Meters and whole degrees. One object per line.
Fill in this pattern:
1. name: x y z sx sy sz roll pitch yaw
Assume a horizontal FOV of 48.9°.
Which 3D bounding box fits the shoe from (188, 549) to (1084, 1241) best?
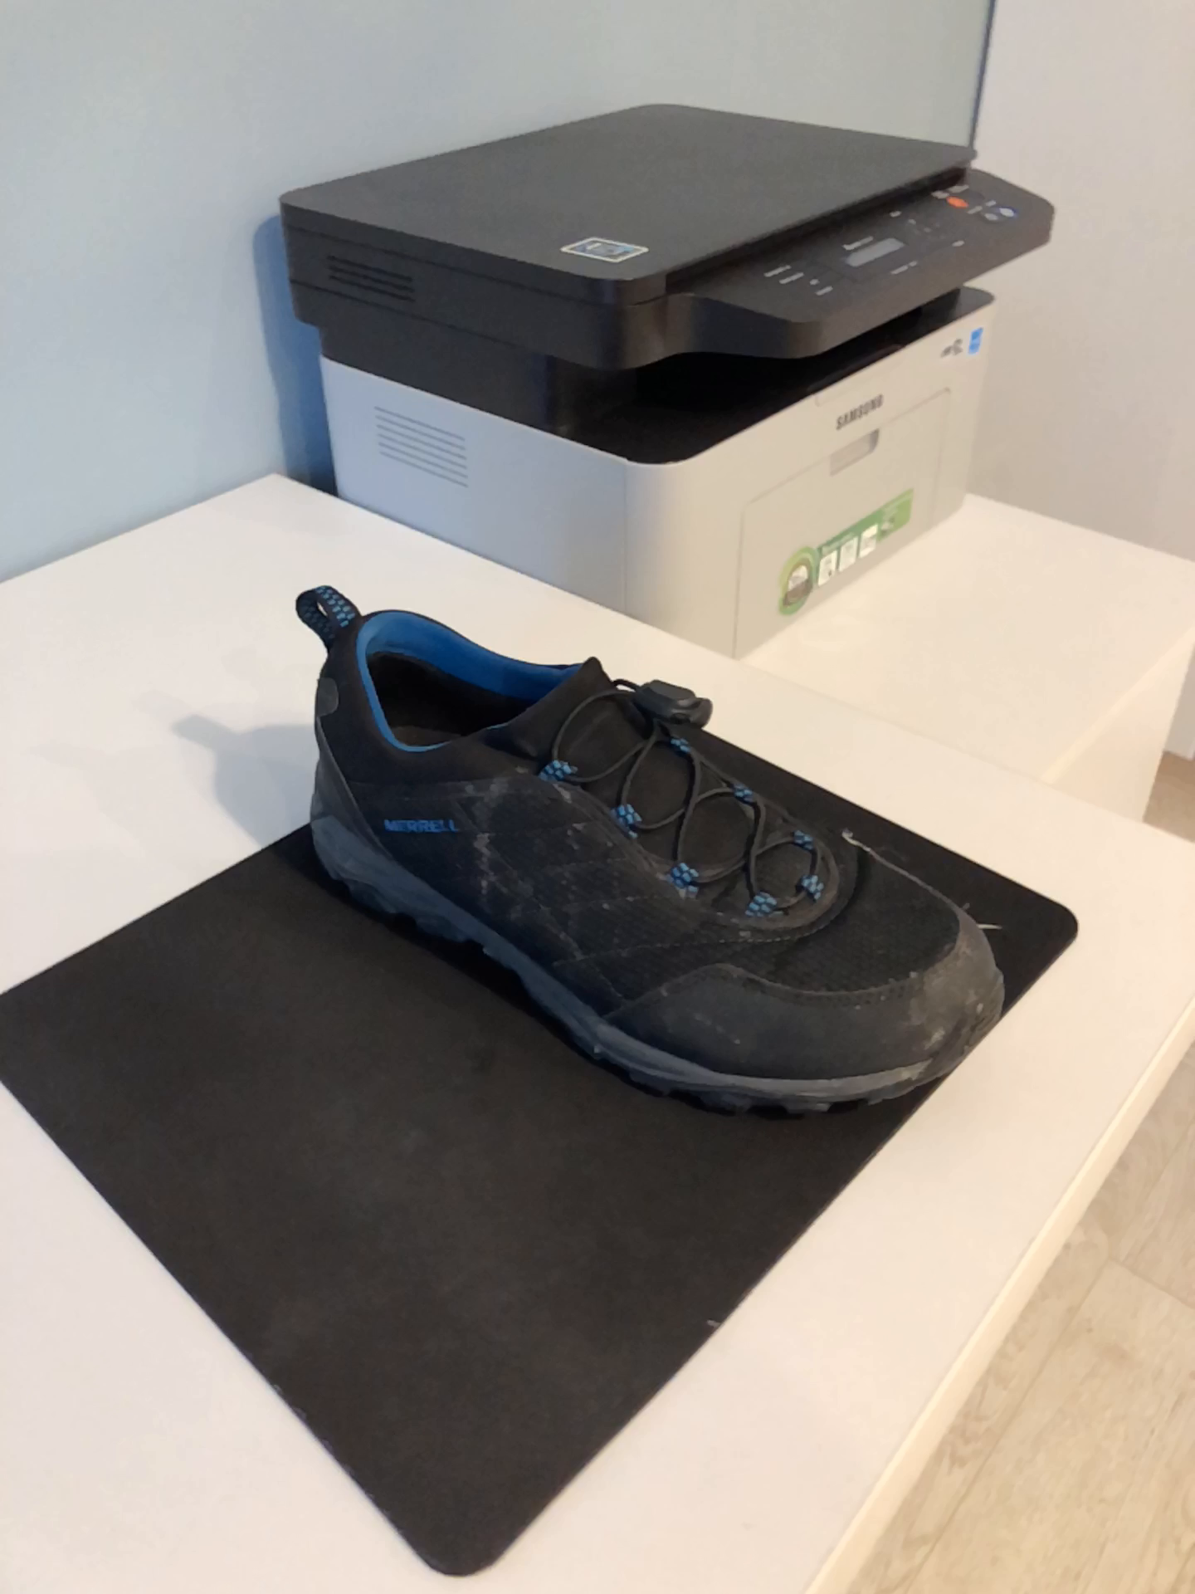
1. shoe: 0.006 0.017 0.506 0.300 0.109 0.131 22 42 27
